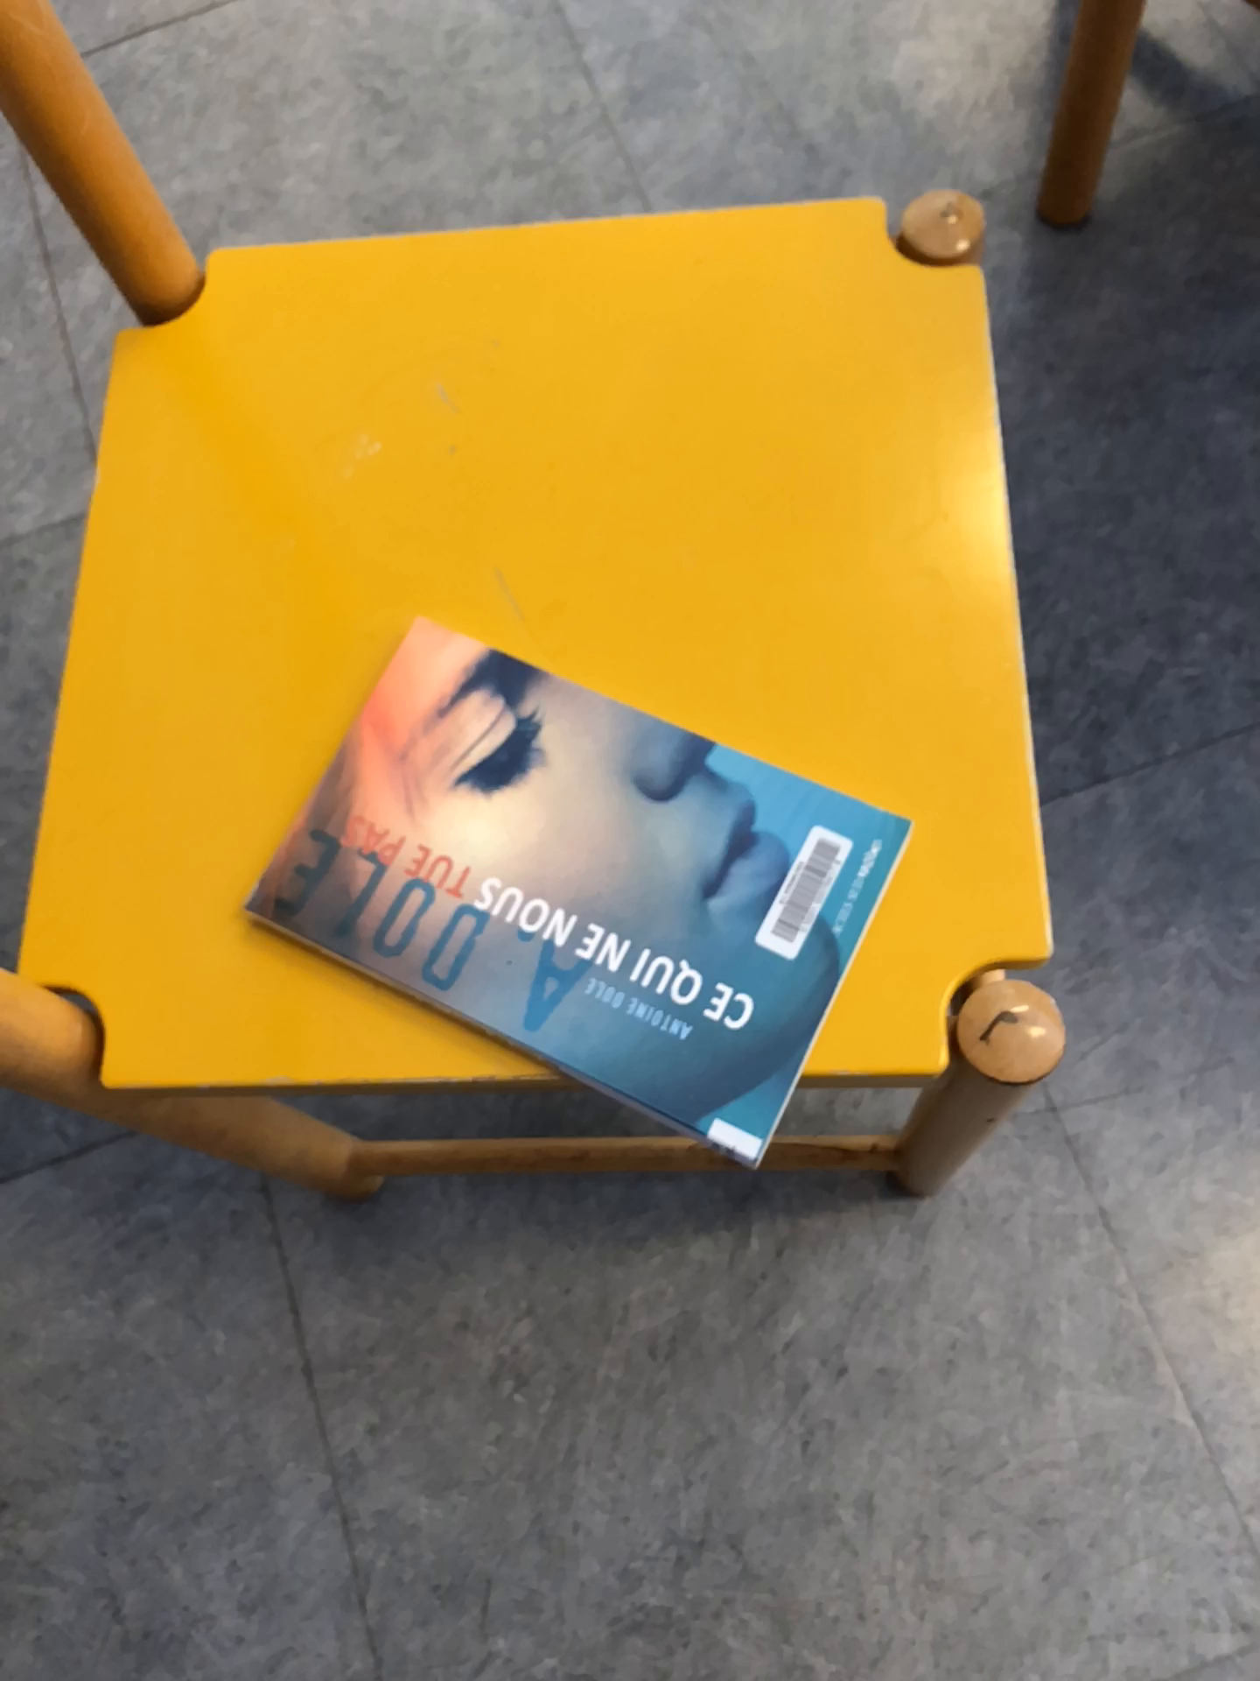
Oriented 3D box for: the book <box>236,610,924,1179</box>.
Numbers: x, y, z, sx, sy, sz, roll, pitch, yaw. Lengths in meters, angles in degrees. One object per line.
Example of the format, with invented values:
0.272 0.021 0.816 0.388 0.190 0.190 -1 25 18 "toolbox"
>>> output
-0.019 0.012 0.515 0.212 0.016 0.140 23 74 14 "book"
